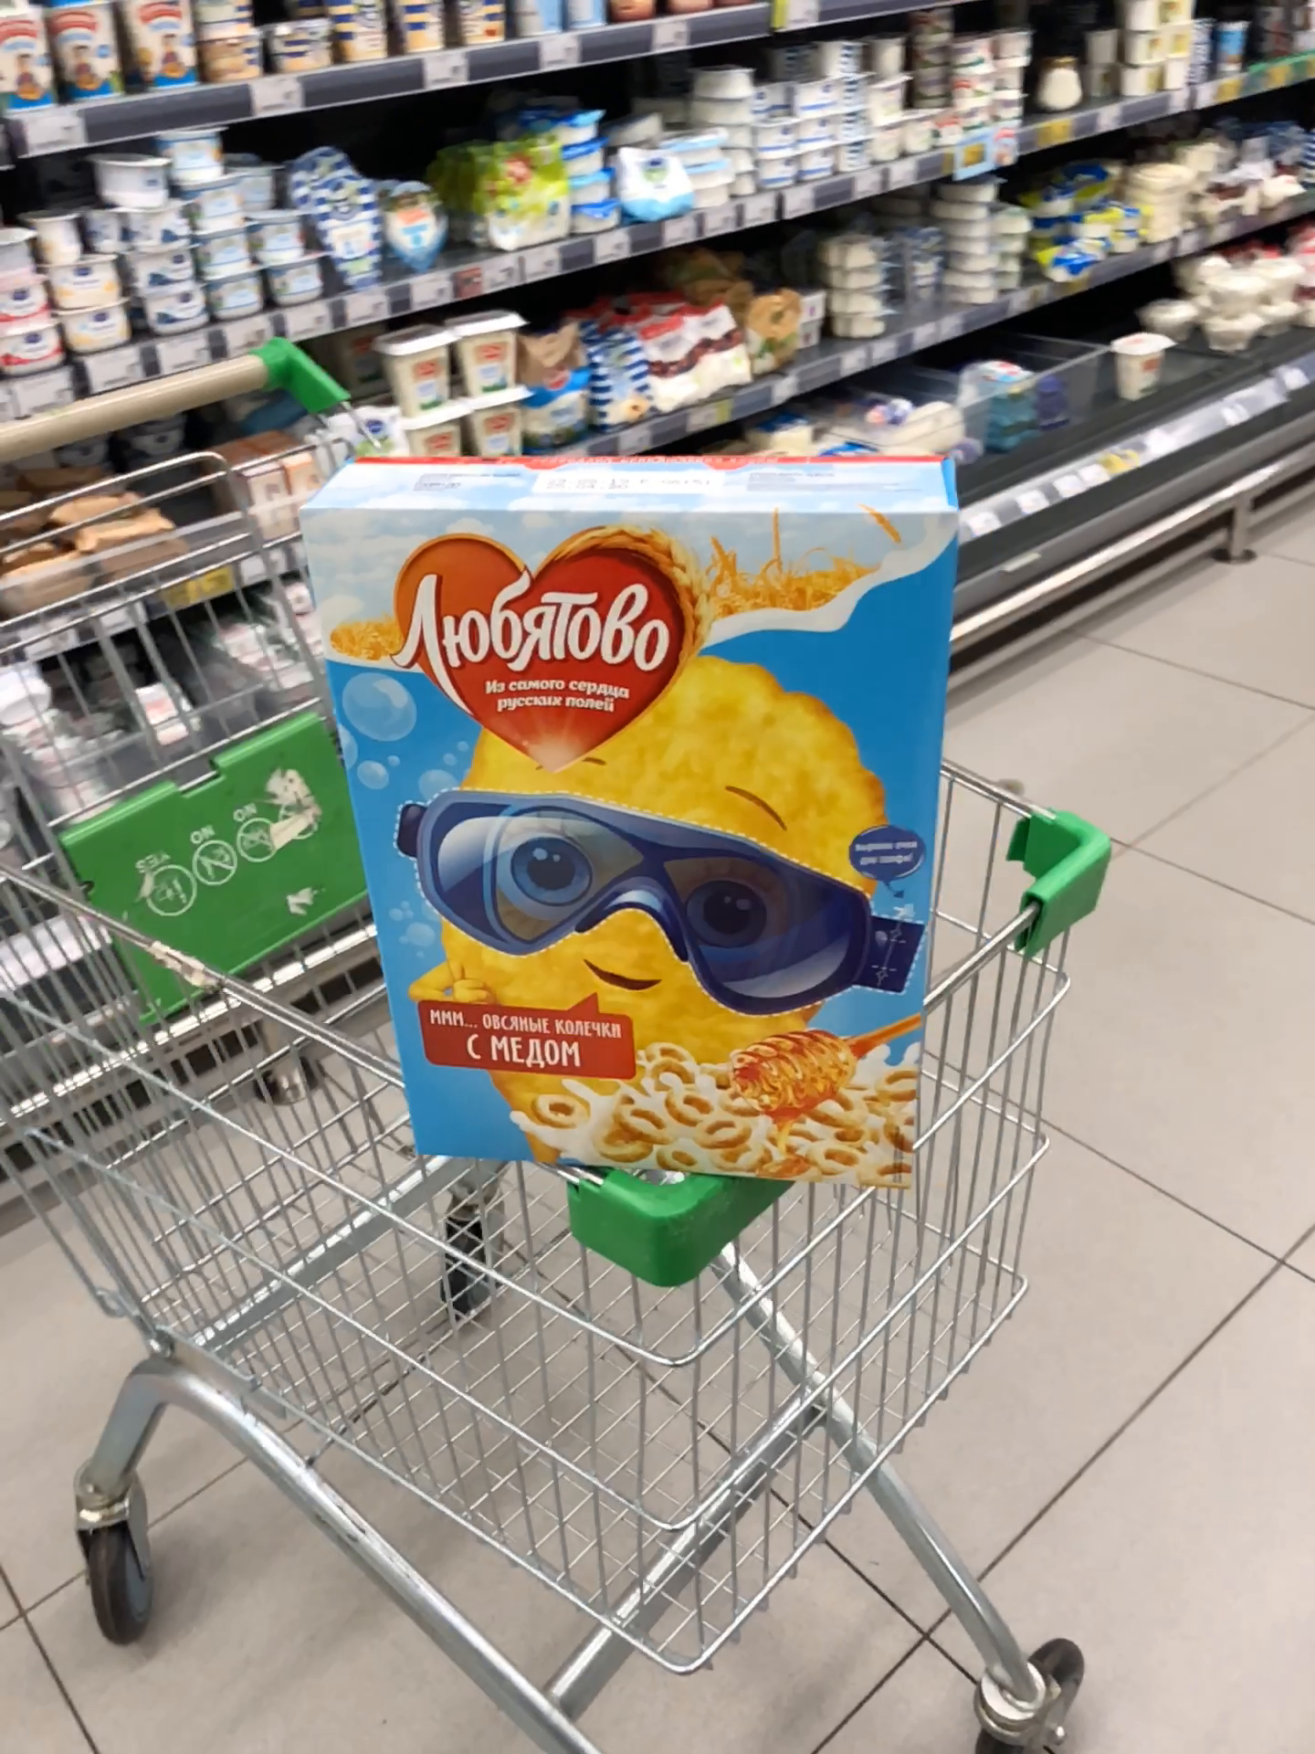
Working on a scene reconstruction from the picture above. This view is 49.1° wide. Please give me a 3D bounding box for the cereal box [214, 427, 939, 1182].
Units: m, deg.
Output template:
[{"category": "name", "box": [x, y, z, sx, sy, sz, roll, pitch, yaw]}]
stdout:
[{"category": "cereal box", "box": [-0.015, -0.015, 0.483, 0.200, 0.249, 0.060, 2, 33, 8]}]
